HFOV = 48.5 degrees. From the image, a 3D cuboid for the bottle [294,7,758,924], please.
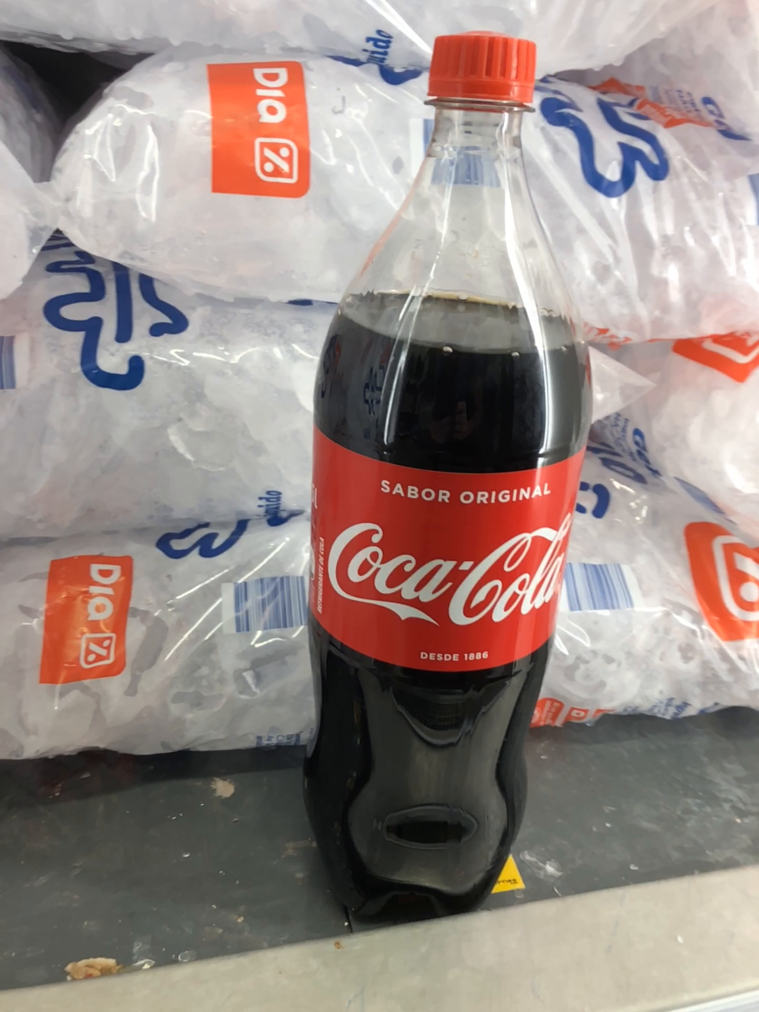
[{"bbox_3d":[0.027,0.005,0.286,0.100,0.288,0.081,2,25,-5],"label":"bottle"}]
